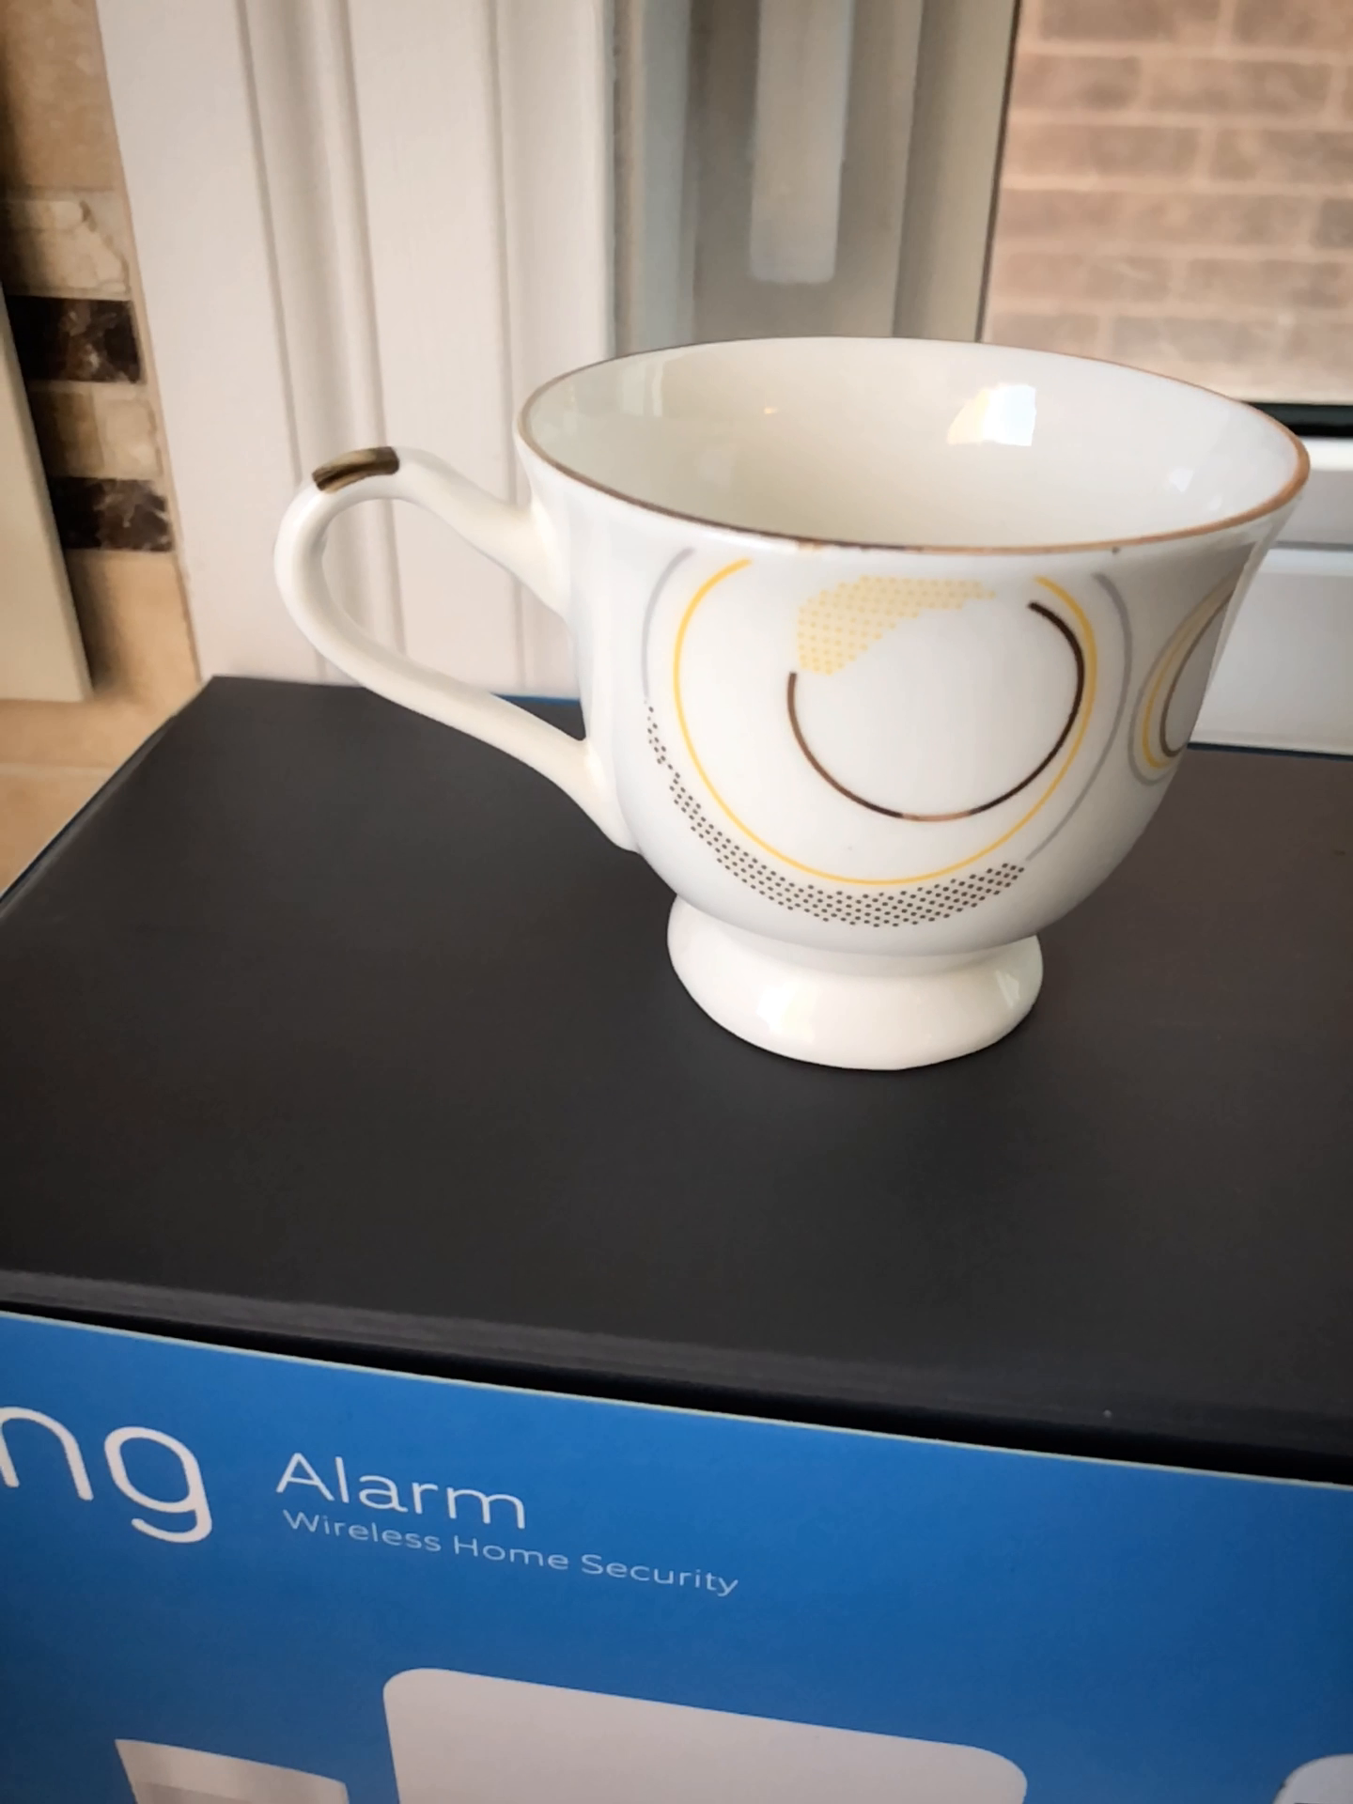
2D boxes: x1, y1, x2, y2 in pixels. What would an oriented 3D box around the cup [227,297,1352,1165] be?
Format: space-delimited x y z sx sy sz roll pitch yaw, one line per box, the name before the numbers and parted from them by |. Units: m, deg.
cup | 0.015 -0.024 0.172 0.100 0.066 0.077 2 34 3
